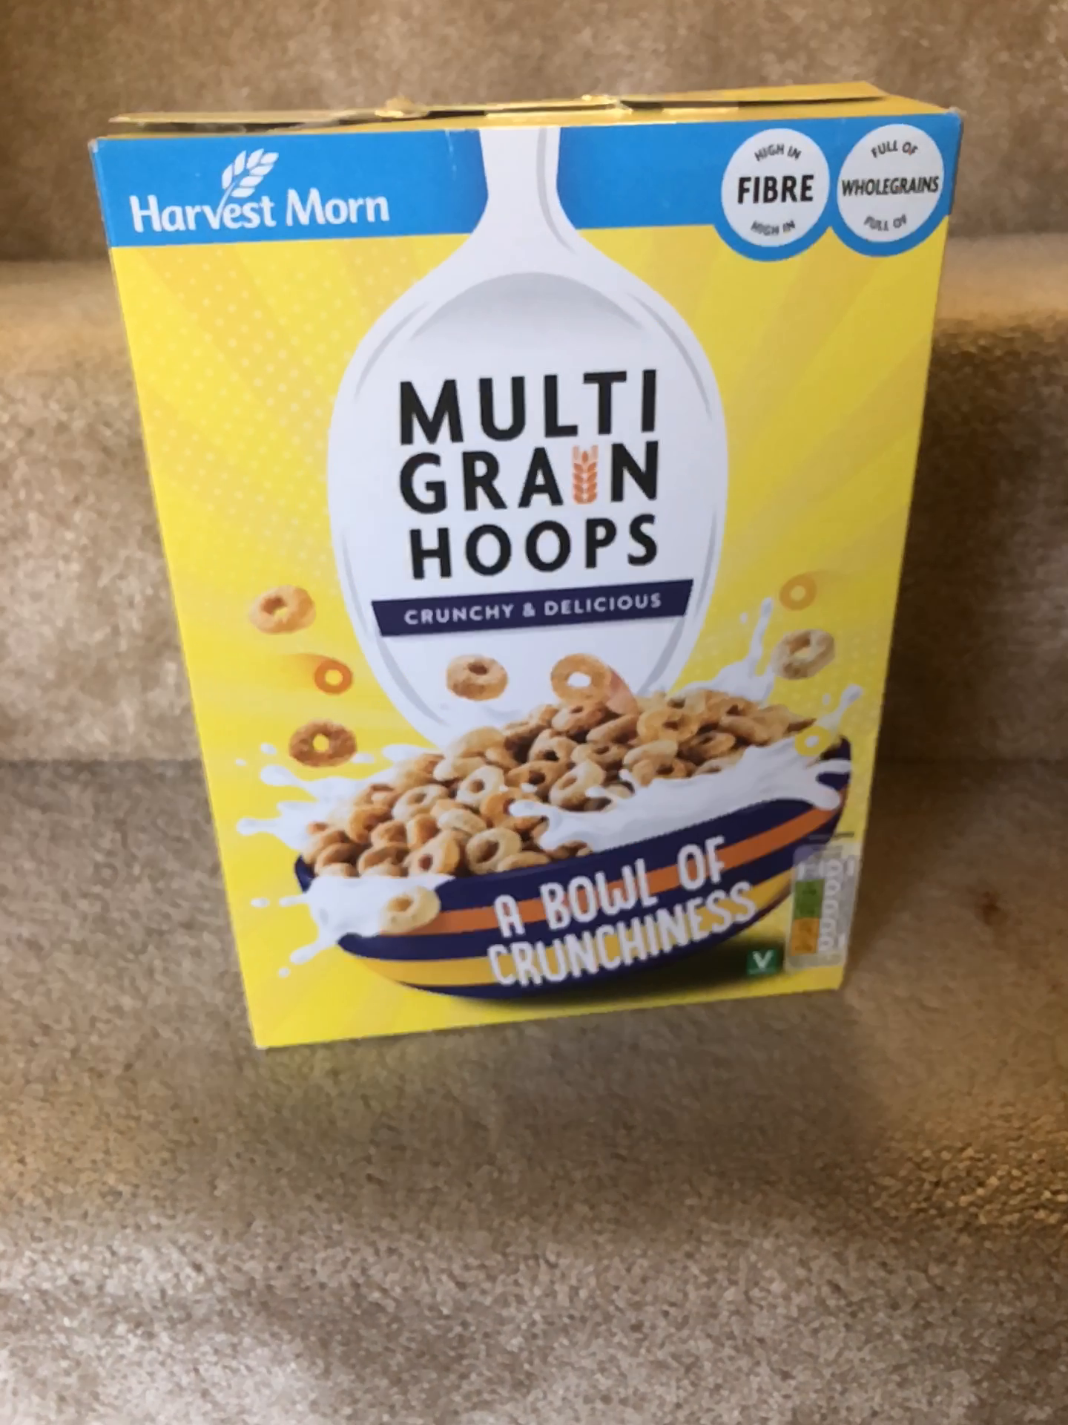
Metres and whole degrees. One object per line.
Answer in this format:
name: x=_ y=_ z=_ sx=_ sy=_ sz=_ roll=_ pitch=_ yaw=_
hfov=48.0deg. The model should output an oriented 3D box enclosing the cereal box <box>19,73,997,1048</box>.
cereal box: x=-0.004 y=-0.038 z=0.345 sx=0.200 sy=0.248 sz=0.091 roll=-4 pitch=30 yaw=-5
